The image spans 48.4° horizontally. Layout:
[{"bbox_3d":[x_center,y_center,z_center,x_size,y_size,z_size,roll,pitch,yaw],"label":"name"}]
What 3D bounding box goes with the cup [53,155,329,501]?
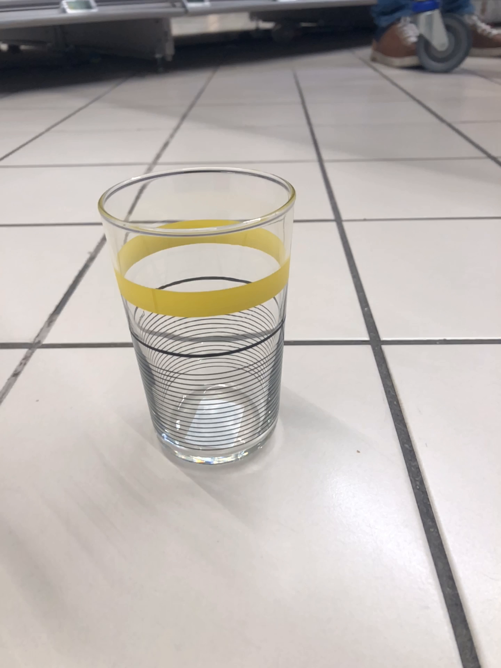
[{"bbox_3d":[-0.016,-0.007,0.243,0.076,0.114,0.080,-2,33,1],"label":"cup"}]
